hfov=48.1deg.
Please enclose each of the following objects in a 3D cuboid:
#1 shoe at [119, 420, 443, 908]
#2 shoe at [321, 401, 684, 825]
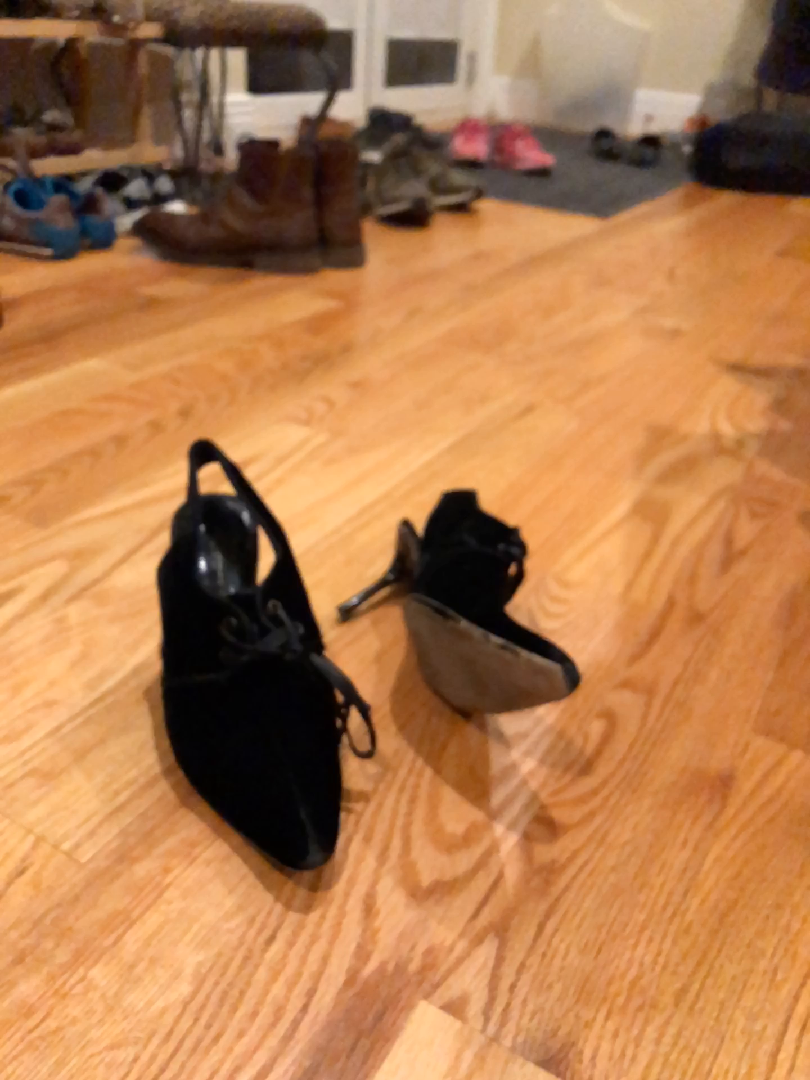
[{"bbox_3d":[-0.082,0.042,0.488,0.107,0.117,0.253,-7,32,-19],"label":"shoe"},{"bbox_3d":[0.033,0.020,0.522,0.118,0.107,0.253,-5,31,-14],"label":"shoe"}]
